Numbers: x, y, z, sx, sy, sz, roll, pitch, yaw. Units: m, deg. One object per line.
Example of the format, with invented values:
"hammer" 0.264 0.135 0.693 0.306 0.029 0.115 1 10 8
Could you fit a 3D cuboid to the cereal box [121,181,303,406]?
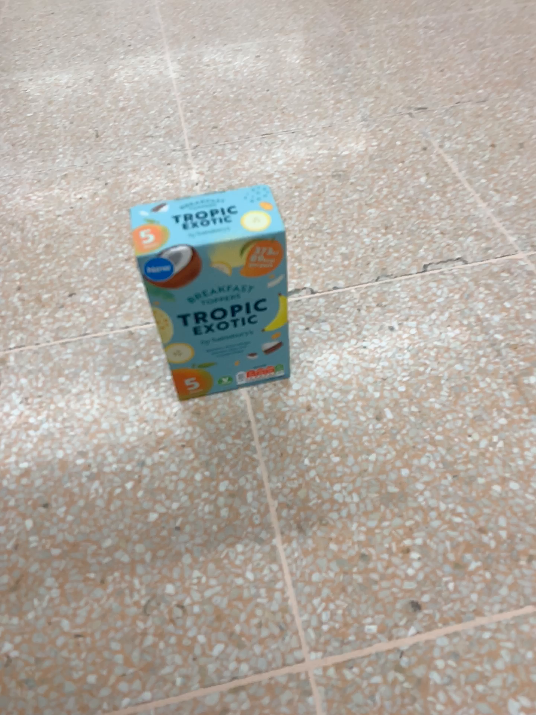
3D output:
"cereal box" -0.035 -0.042 0.410 0.110 0.149 0.060 -12 50 -6
